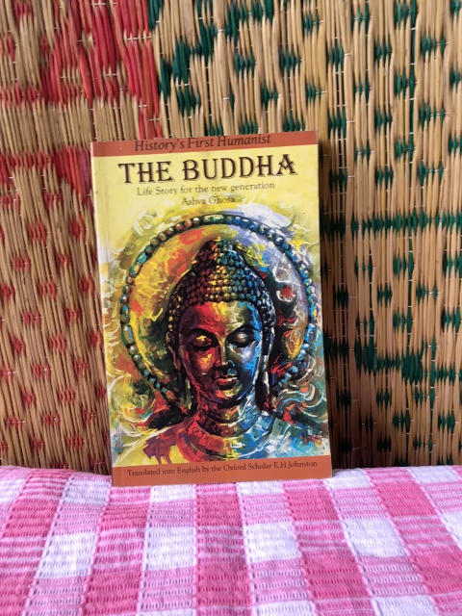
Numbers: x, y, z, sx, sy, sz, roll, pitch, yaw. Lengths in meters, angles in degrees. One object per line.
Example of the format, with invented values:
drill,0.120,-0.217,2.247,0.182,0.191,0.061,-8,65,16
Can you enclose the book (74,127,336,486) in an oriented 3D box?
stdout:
book,-0.014,0.000,0.319,0.146,0.207,0.030,-3,2,1
